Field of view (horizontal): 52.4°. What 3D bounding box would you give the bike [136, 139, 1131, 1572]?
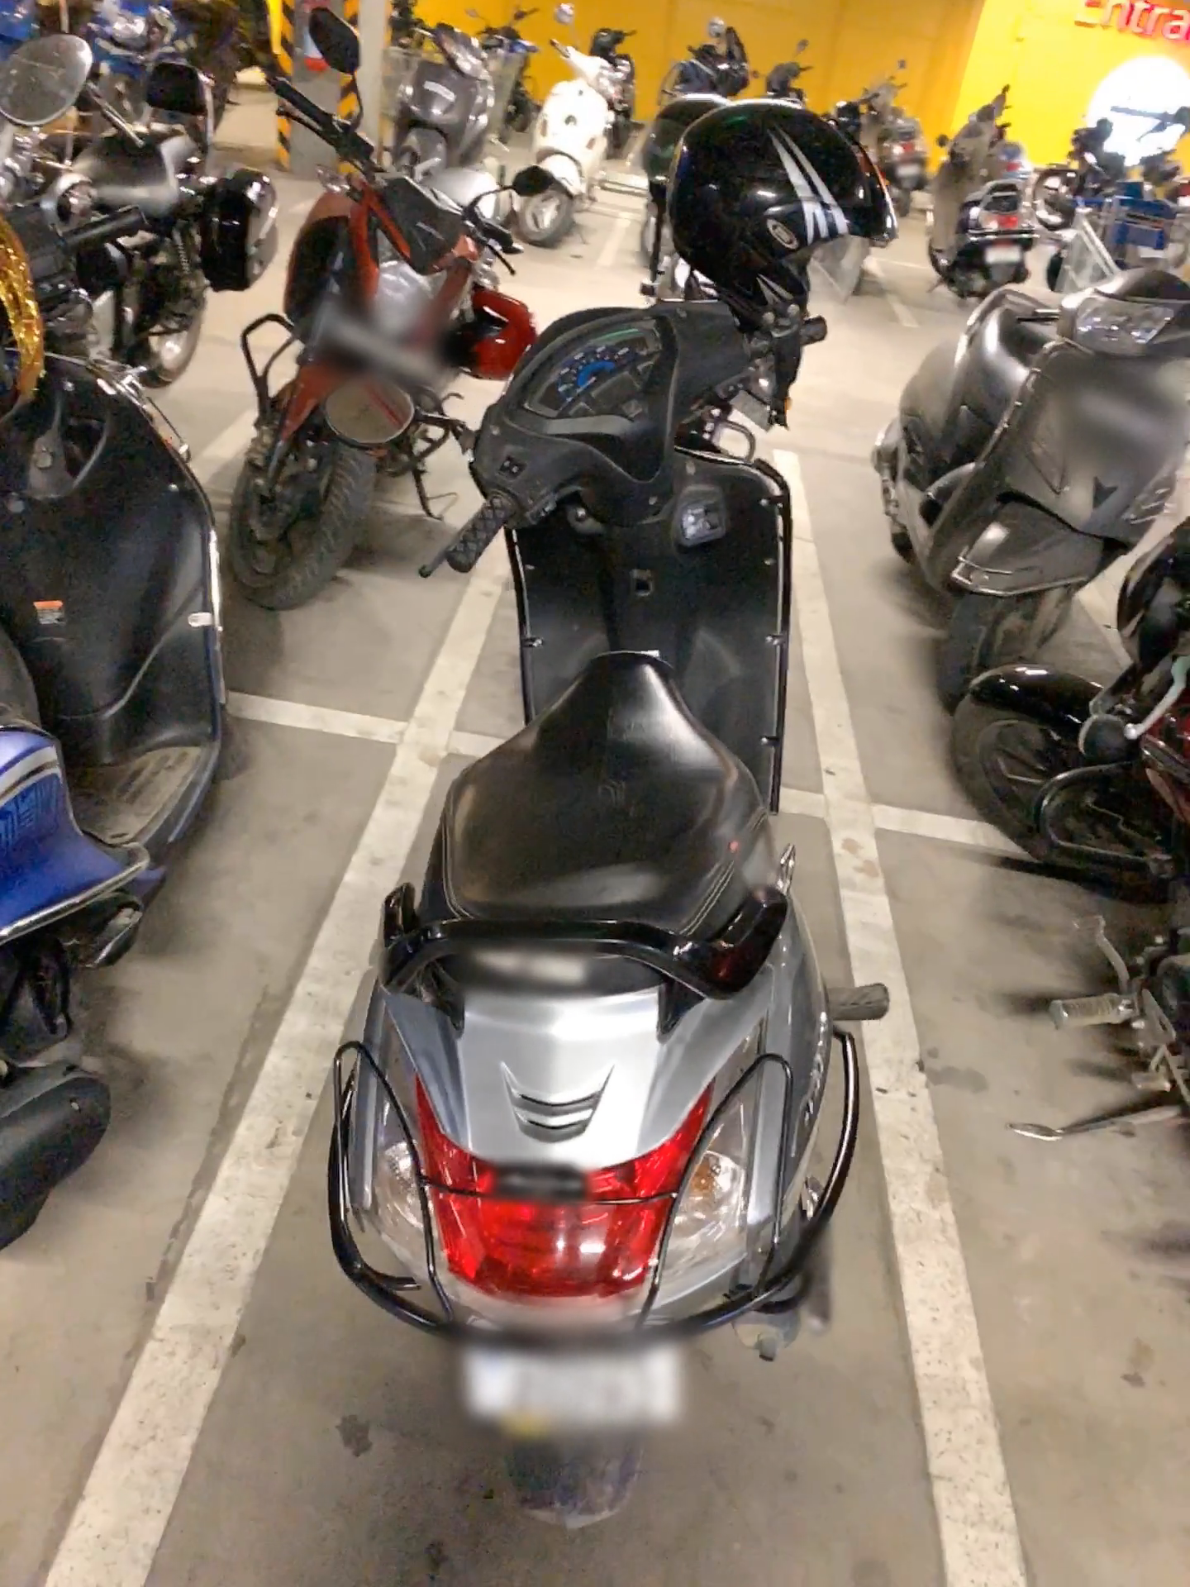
[{"bbox_3d":[-0.026,-0.092,1.658,0.630,1.090,1.541,8,36,-4],"label":"bike"}]
